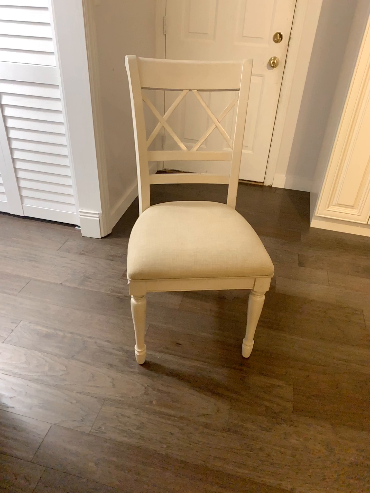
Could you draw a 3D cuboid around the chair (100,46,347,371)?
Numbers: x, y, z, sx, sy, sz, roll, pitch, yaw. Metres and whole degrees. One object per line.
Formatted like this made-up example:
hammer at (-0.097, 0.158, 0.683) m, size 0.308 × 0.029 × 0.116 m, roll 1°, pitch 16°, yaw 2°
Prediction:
chair at (0.044, -0.137, 1.392) m, size 0.580 × 0.994 × 0.614 m, roll -1°, pitch 34°, yaw -7°
